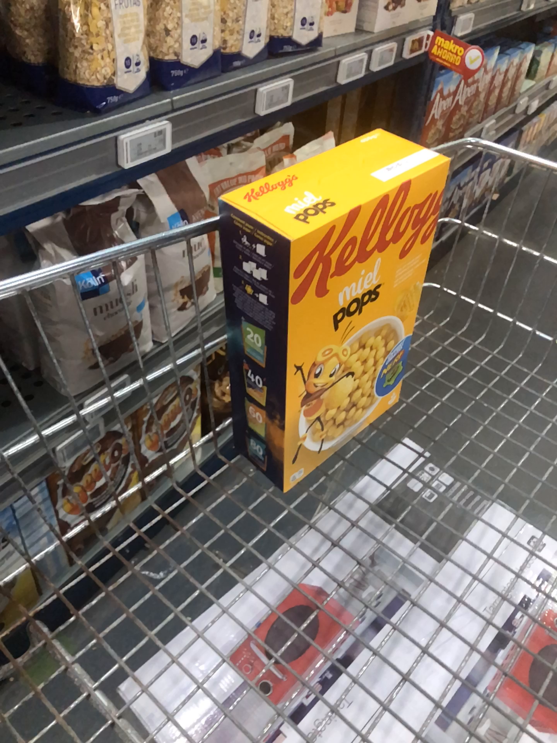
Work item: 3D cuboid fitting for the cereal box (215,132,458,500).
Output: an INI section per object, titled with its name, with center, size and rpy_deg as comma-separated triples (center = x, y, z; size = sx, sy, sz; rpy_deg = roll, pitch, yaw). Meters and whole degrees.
[cereal box]
center = 0.052, -0.049, 0.587
size = 0.090, 0.279, 0.201
rpy_deg = 31, 49, 30
